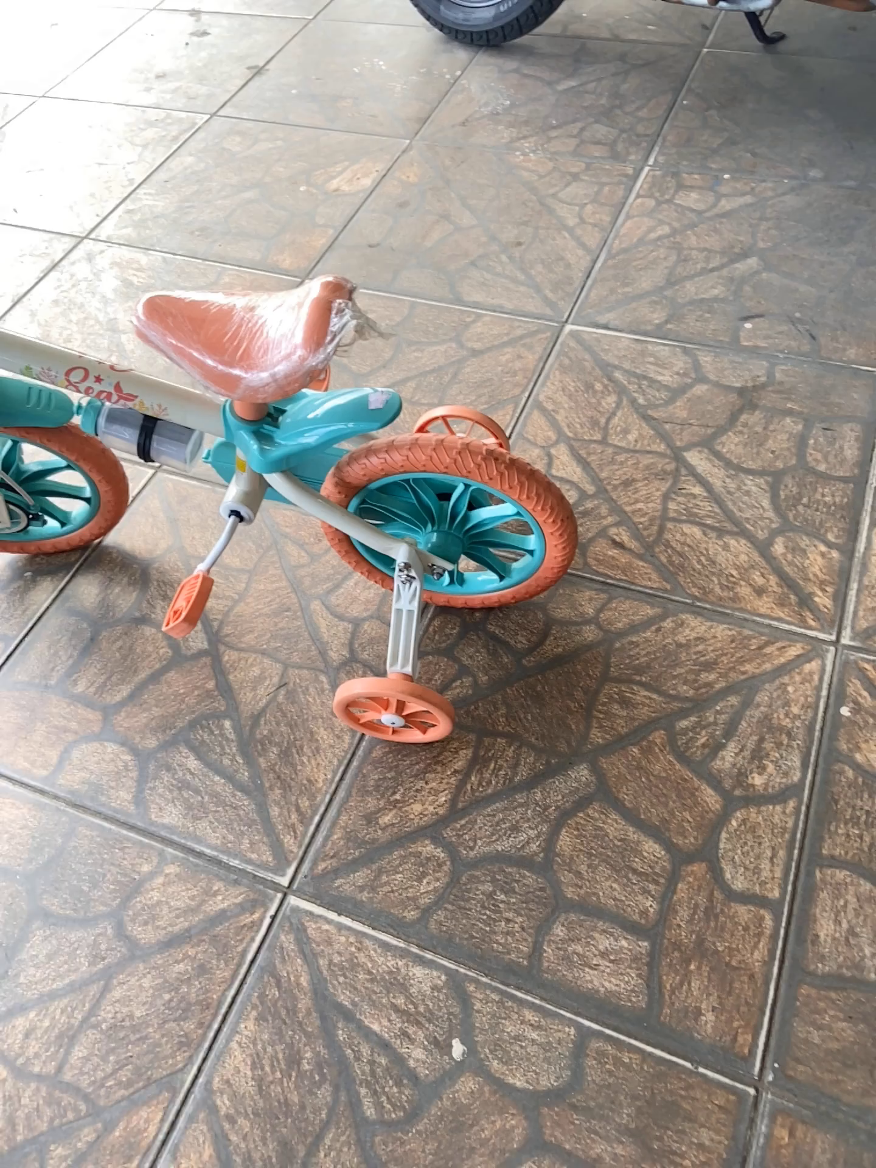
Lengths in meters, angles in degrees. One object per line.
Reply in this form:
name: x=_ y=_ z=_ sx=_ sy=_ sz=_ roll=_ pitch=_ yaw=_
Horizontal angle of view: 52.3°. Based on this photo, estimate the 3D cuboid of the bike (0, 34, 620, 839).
bike: x=-0.276 y=-0.131 z=0.868 sx=0.806 sy=0.535 sz=0.500 roll=5 pitch=54 yaw=8
